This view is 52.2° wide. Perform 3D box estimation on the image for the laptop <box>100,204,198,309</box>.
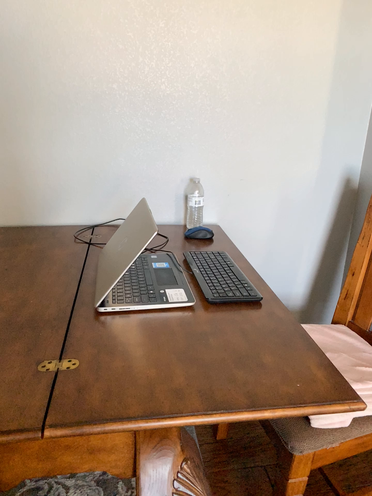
[{"bbox_3d":[-0.104,0.006,0.931,0.198,0.157,0.304,0,18,-12],"label":"laptop"}]
